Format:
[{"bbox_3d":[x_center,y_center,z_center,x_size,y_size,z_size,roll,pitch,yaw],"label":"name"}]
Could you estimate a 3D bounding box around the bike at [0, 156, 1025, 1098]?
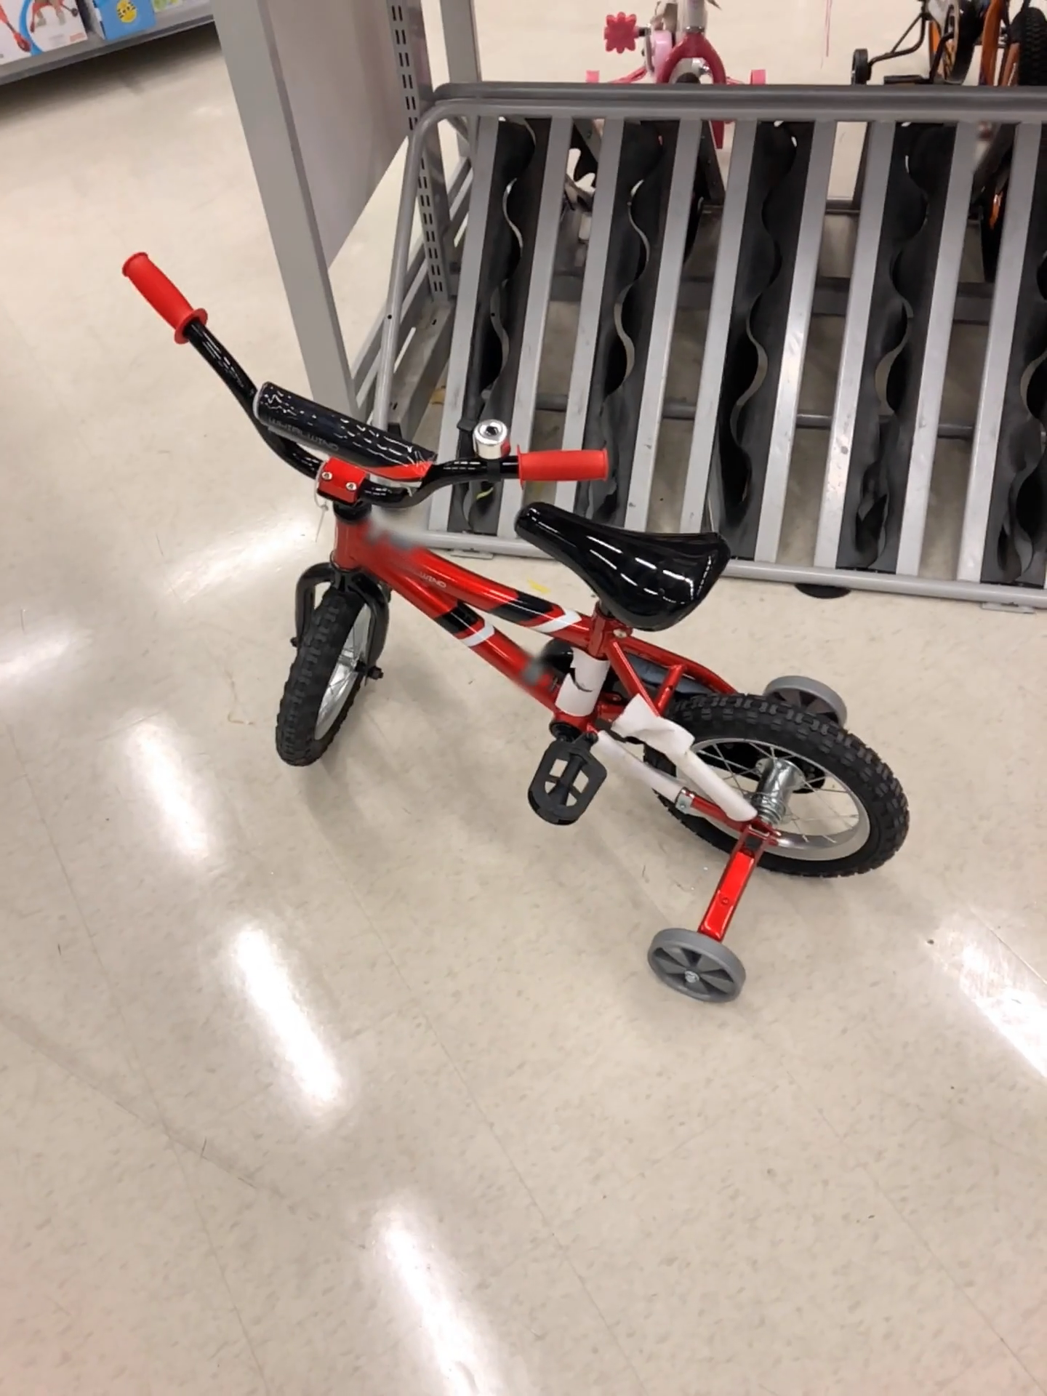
[{"bbox_3d":[0.038,-0.061,1.142,0.699,0.678,0.534,9,51,13],"label":"bike"}]
